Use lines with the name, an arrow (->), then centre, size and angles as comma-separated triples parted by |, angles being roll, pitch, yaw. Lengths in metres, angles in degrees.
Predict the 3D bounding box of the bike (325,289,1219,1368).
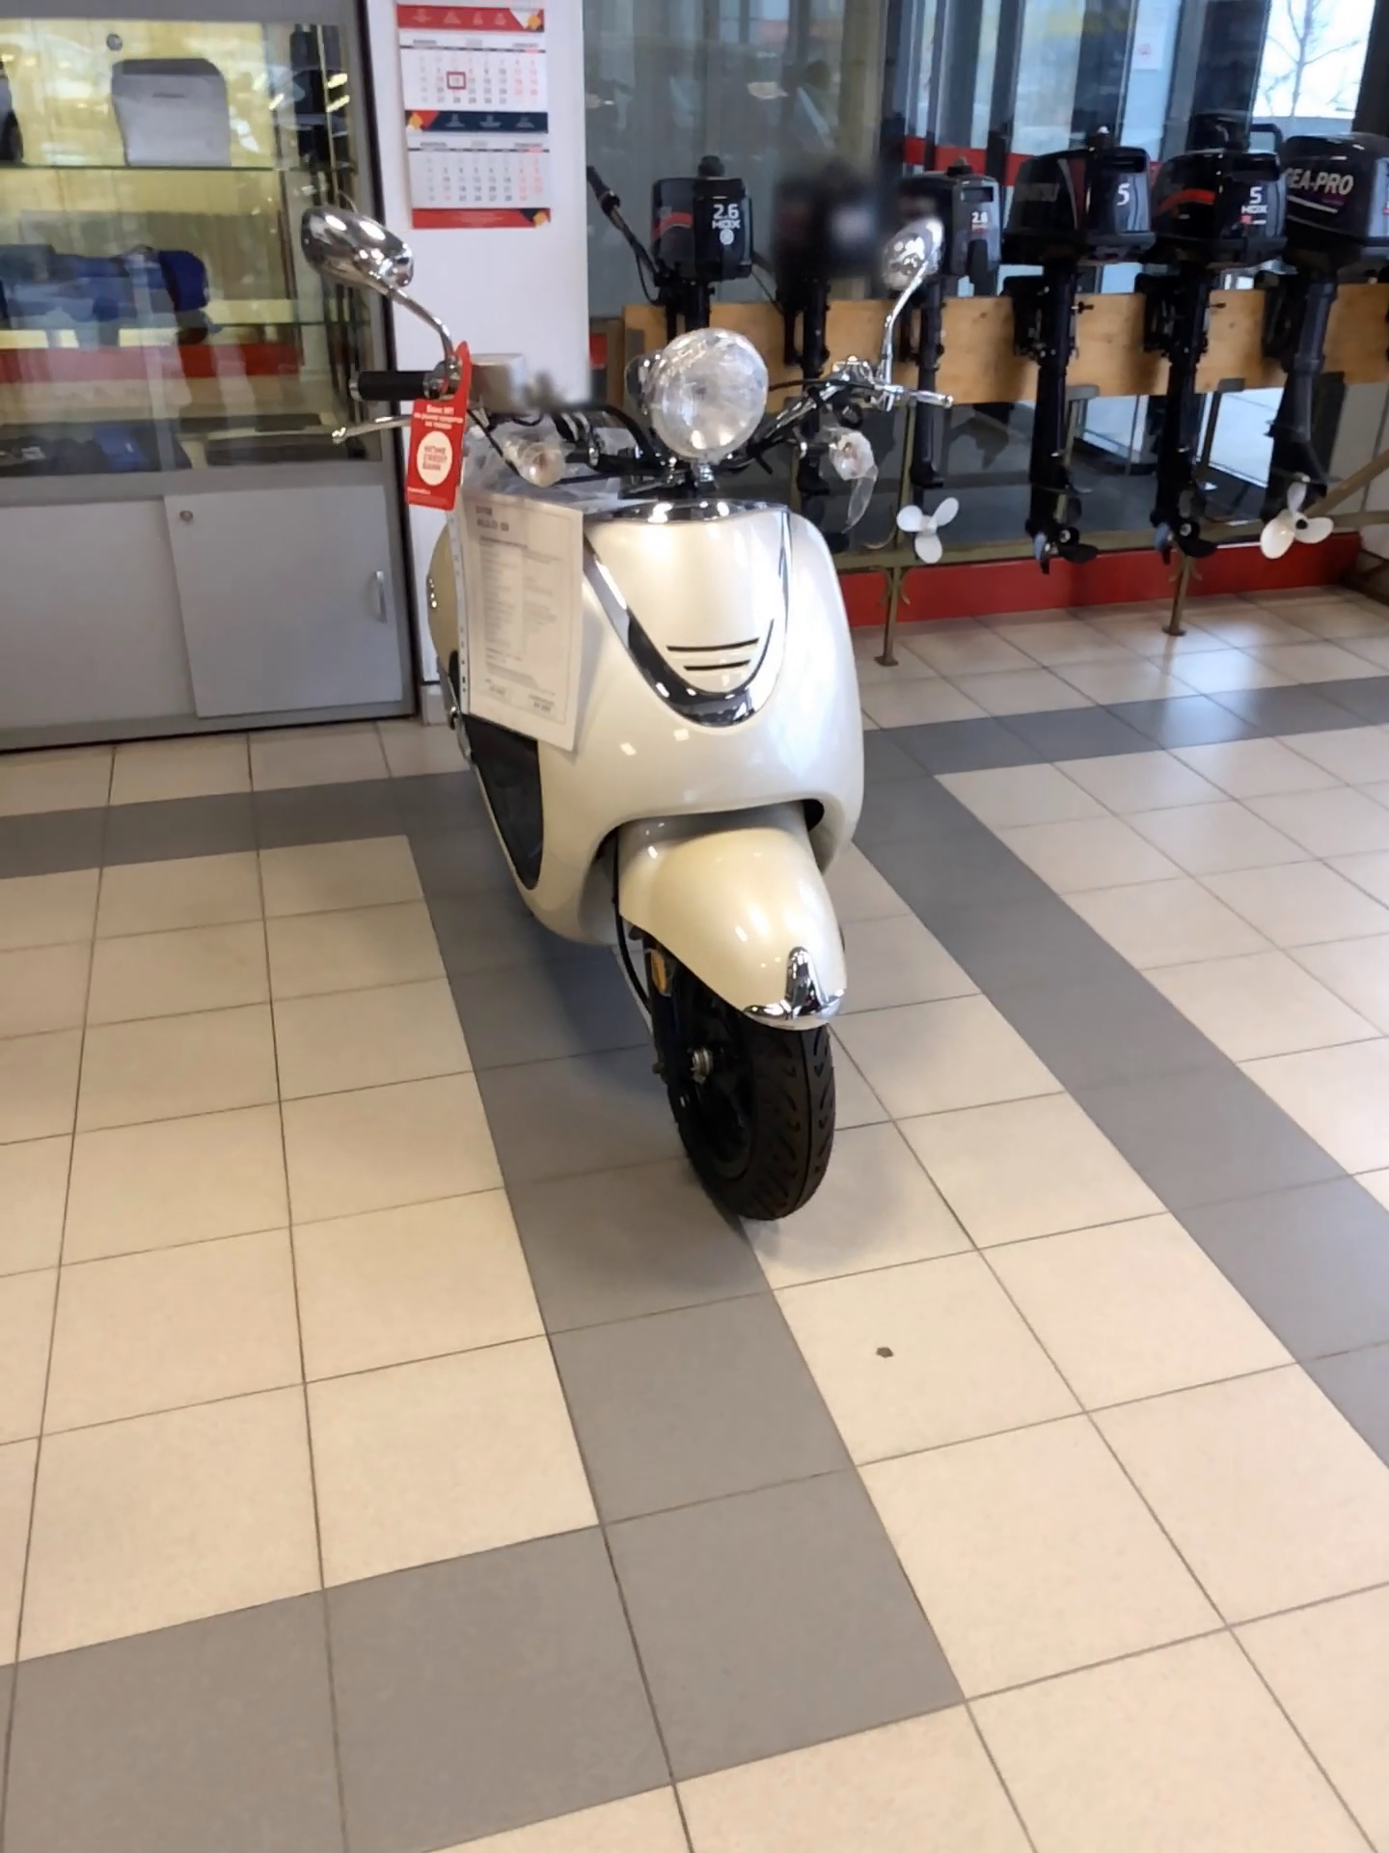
bike -> -0.070, -0.351, 2.455 | 0.805, 0.963, 1.690 | -7, 32, -14
